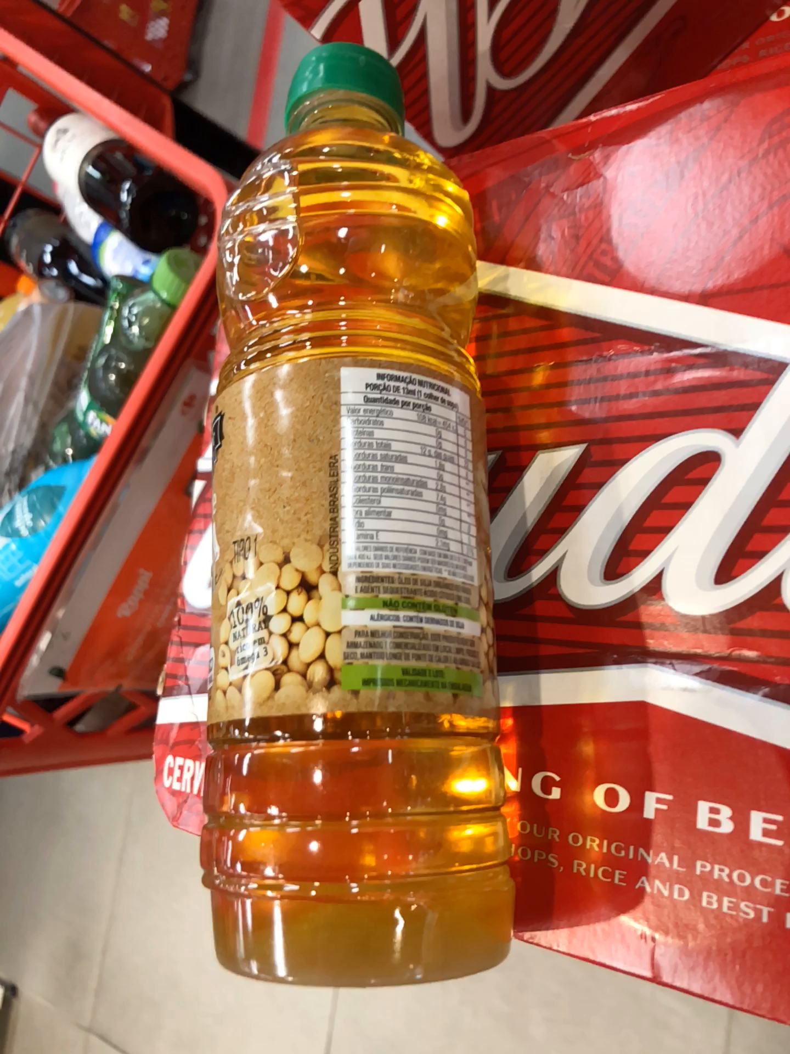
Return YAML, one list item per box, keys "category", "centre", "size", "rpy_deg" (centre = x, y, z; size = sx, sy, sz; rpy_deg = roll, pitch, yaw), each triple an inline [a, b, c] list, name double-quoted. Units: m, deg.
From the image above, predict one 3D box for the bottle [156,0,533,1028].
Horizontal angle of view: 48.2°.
- category: "bottle"
  centre: [-0.009, -0.028, 0.202]
  size: [0.060, 0.060, 0.240]
  rpy_deg: [-1, 74, 0]
